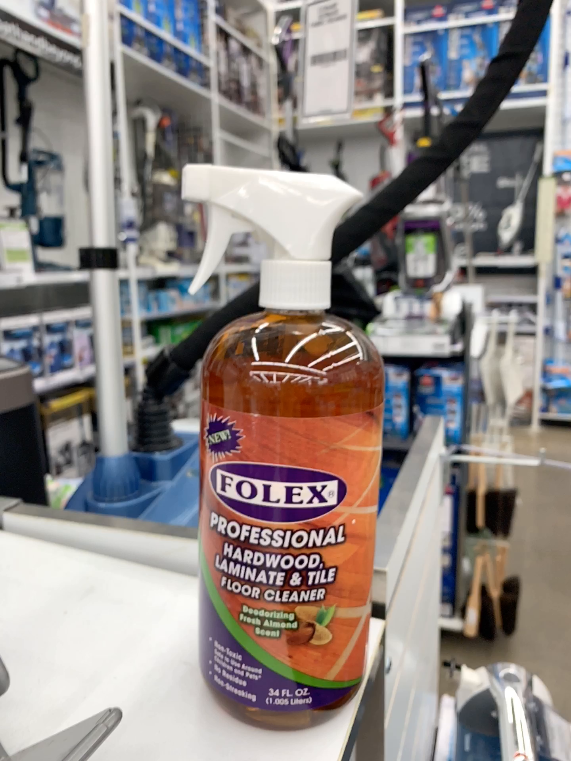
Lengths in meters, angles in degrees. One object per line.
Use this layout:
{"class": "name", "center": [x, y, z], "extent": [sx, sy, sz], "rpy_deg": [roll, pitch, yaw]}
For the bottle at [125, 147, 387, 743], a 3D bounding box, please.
{"class": "bottle", "center": [-0.003, 0.028, 0.294], "extent": [0.100, 0.249, 0.090], "rpy_deg": [1, 11, 10]}
